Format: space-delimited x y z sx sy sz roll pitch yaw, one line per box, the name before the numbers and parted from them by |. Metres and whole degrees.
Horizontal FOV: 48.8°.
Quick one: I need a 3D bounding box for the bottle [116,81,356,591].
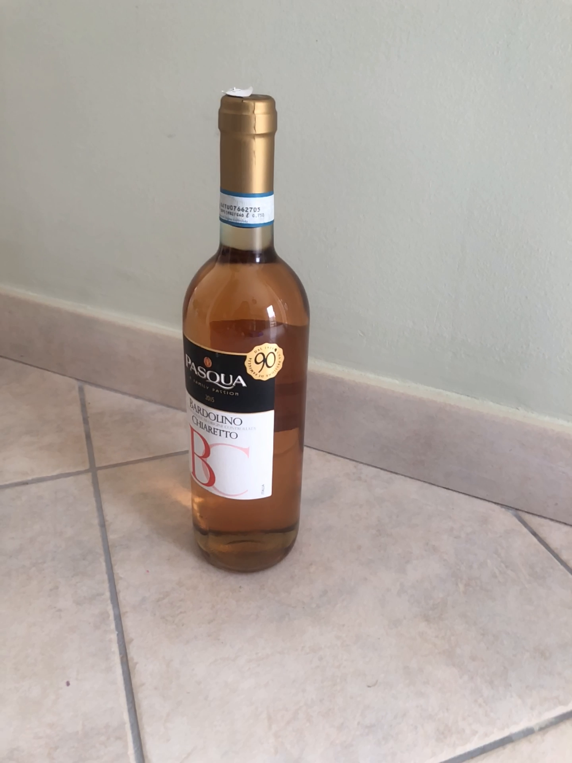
bottle | -0.025 -0.018 0.362 0.080 0.268 0.080 1 30 -1
